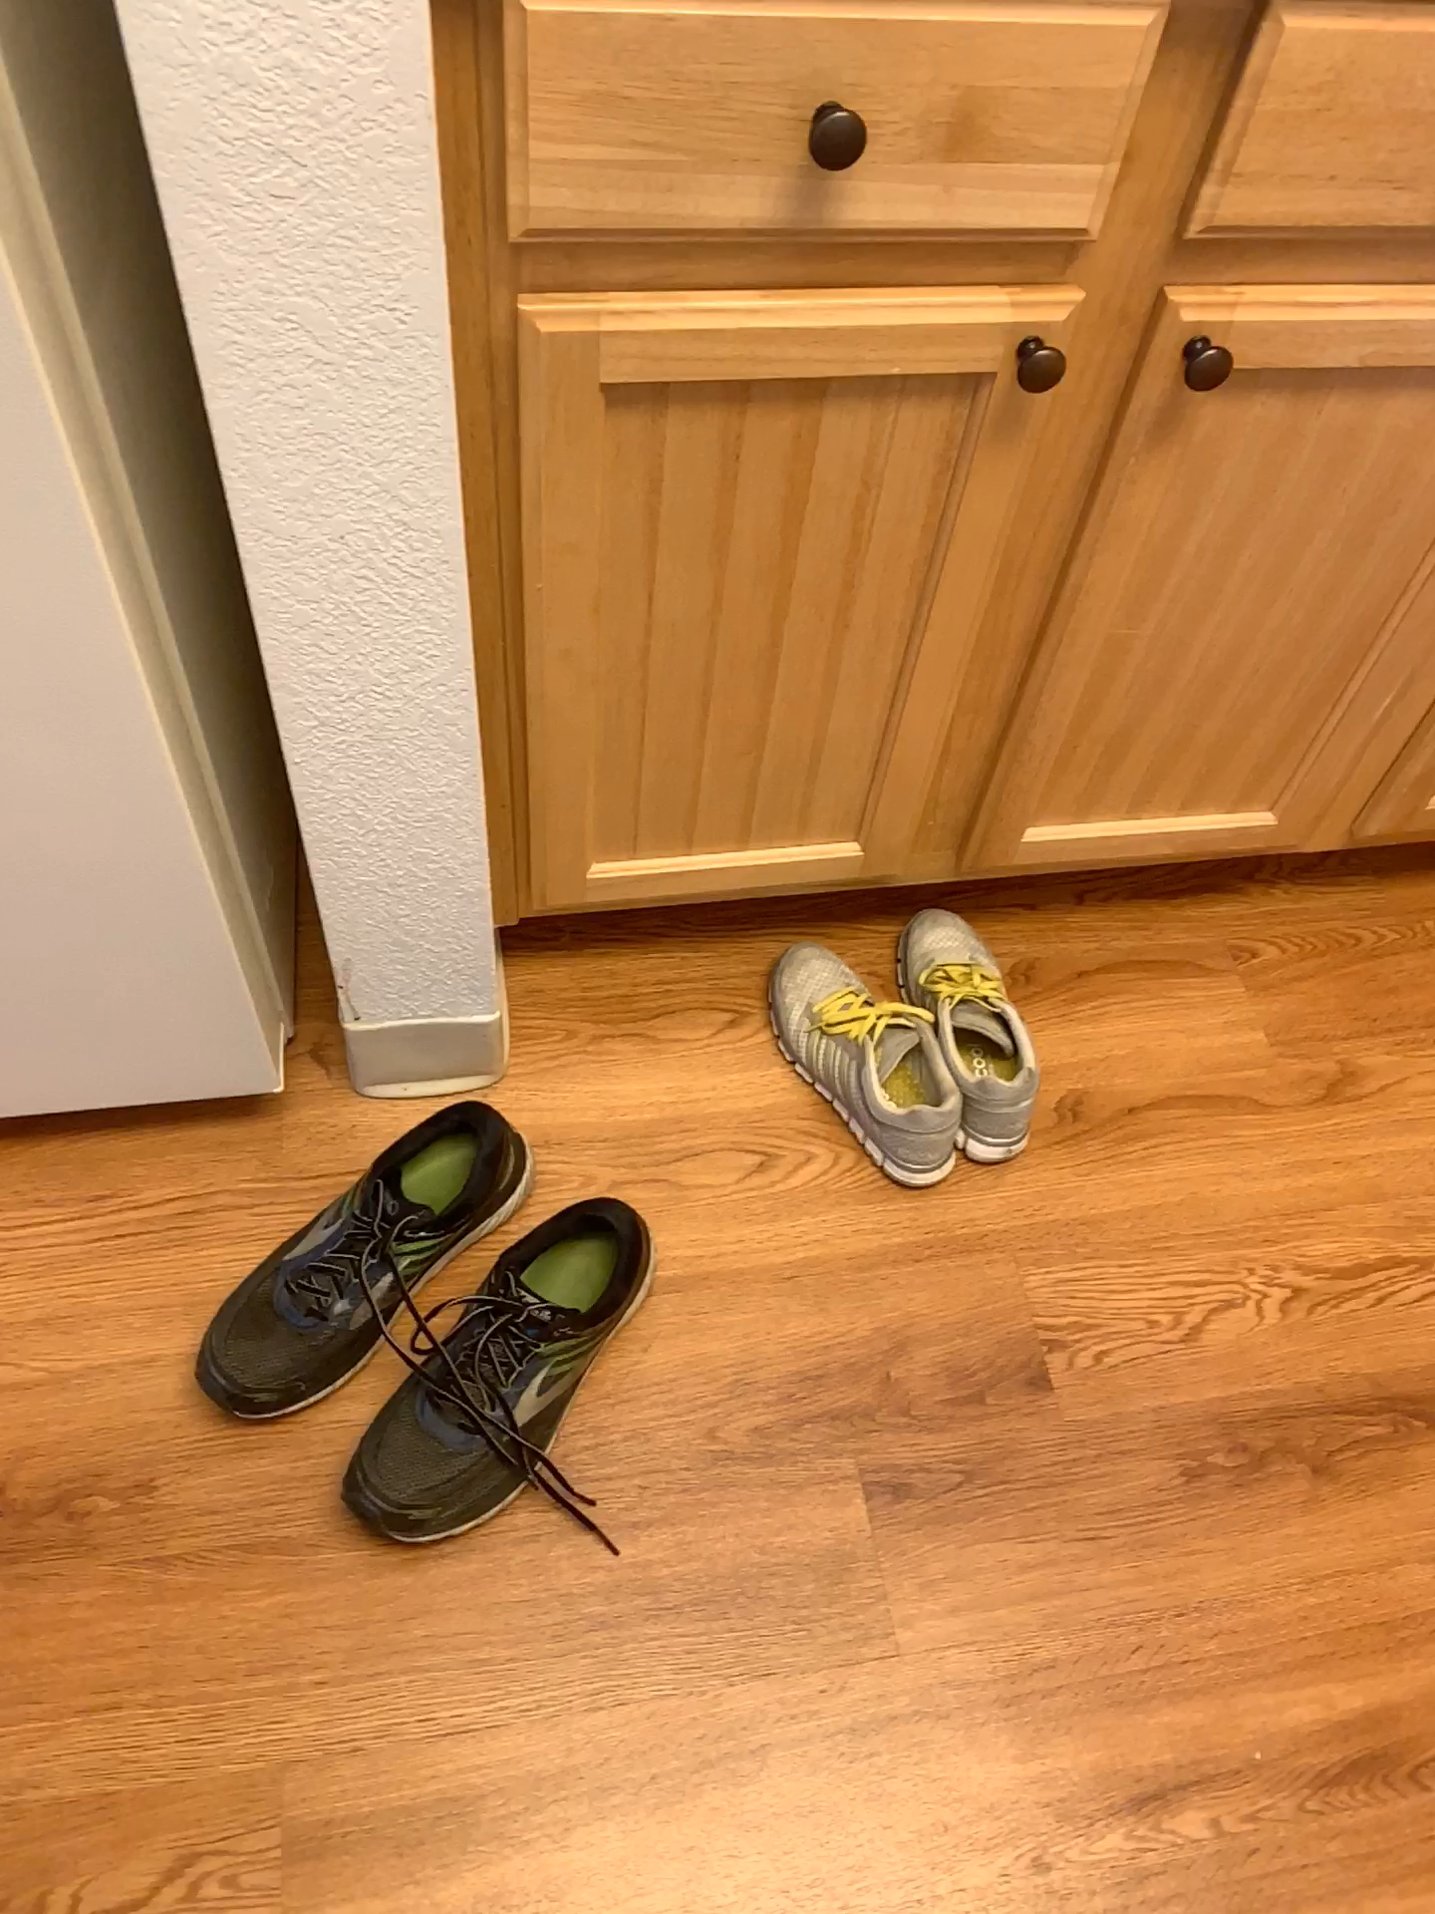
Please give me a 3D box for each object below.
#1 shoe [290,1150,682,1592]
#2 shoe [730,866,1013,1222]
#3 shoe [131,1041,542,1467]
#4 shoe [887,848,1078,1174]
[{"bbox_3d":[-0.158,0.296,1.064,0.110,0.139,0.271,35,59,18],"label":"shoe"},{"bbox_3d":[0.122,0.070,1.246,0.100,0.110,0.271,-26,61,-15],"label":"shoe"},{"bbox_3d":[-0.265,0.214,1.077,0.100,0.139,0.281,37,59,19],"label":"shoe"},{"bbox_3d":[0.233,0.045,1.334,0.100,0.110,0.271,-7,55,-3],"label":"shoe"}]
